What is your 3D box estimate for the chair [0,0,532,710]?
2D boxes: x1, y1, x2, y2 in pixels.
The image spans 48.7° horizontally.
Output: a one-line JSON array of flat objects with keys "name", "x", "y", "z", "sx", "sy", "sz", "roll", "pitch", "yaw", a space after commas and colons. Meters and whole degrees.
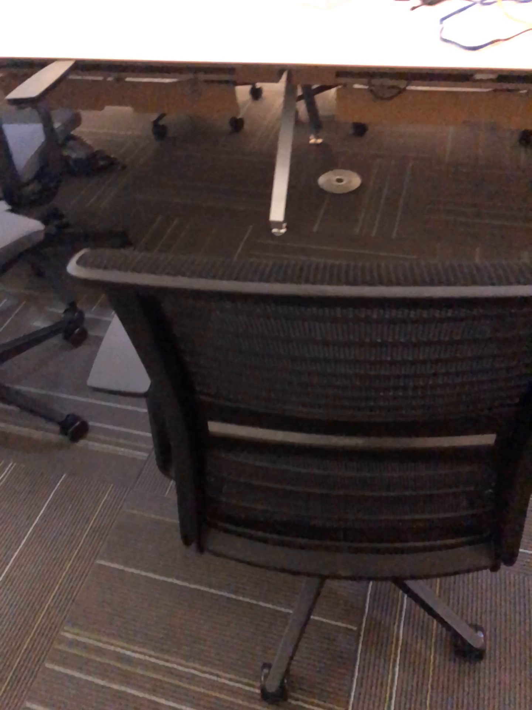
[{"name": "chair", "x": 0.112, "y": 0.038, "z": 0.870, "sx": 0.720, "sy": 0.856, "sz": 0.663, "roll": -1, "pitch": 44, "yaw": 5}]
